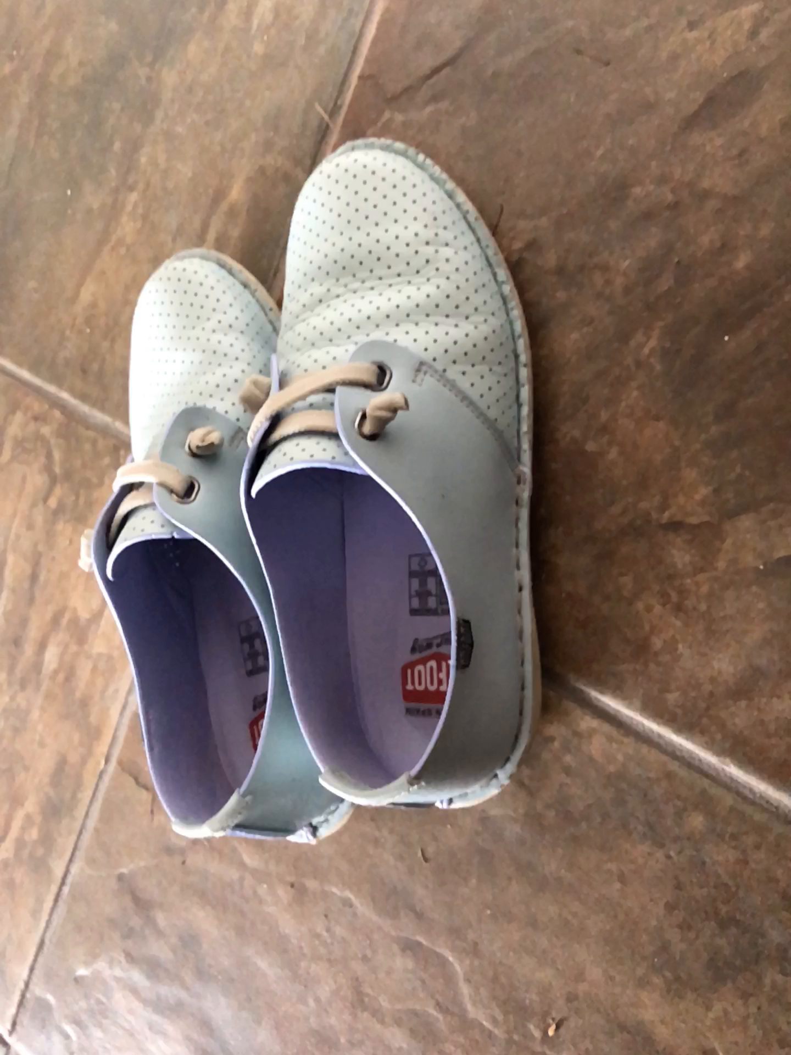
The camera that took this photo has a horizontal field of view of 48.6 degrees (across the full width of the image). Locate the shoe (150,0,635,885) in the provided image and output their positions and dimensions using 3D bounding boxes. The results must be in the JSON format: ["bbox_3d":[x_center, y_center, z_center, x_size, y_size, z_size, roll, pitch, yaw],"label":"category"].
[{"bbox_3d":[0.000,-0.023,0.305,0.100,0.100,0.250,-11,83,30],"label":"shoe"}]

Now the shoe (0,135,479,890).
[{"bbox_3d":[-0.065,-0.004,0.355,0.100,0.100,0.250,-21,78,28],"label":"shoe"}]
